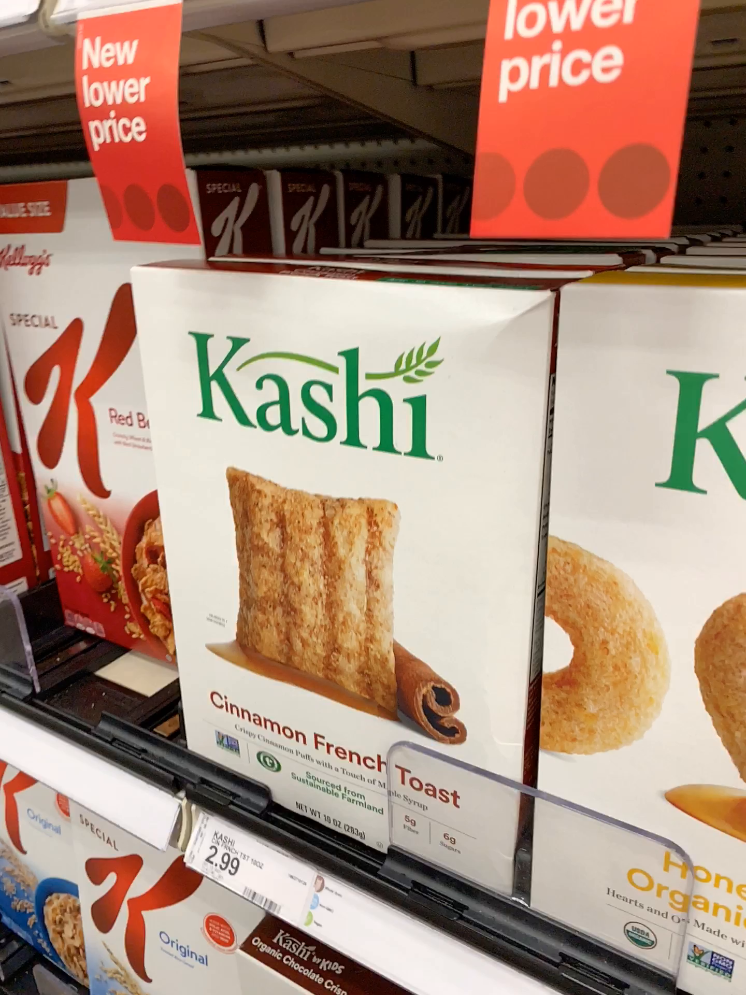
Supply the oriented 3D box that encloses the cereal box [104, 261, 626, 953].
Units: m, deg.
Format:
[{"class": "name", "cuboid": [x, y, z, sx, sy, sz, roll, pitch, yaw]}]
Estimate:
[{"class": "cereal box", "cuboid": [-0.011, 0.036, 0.354, 0.210, 0.269, 0.060, 12, 24, 31]}]
